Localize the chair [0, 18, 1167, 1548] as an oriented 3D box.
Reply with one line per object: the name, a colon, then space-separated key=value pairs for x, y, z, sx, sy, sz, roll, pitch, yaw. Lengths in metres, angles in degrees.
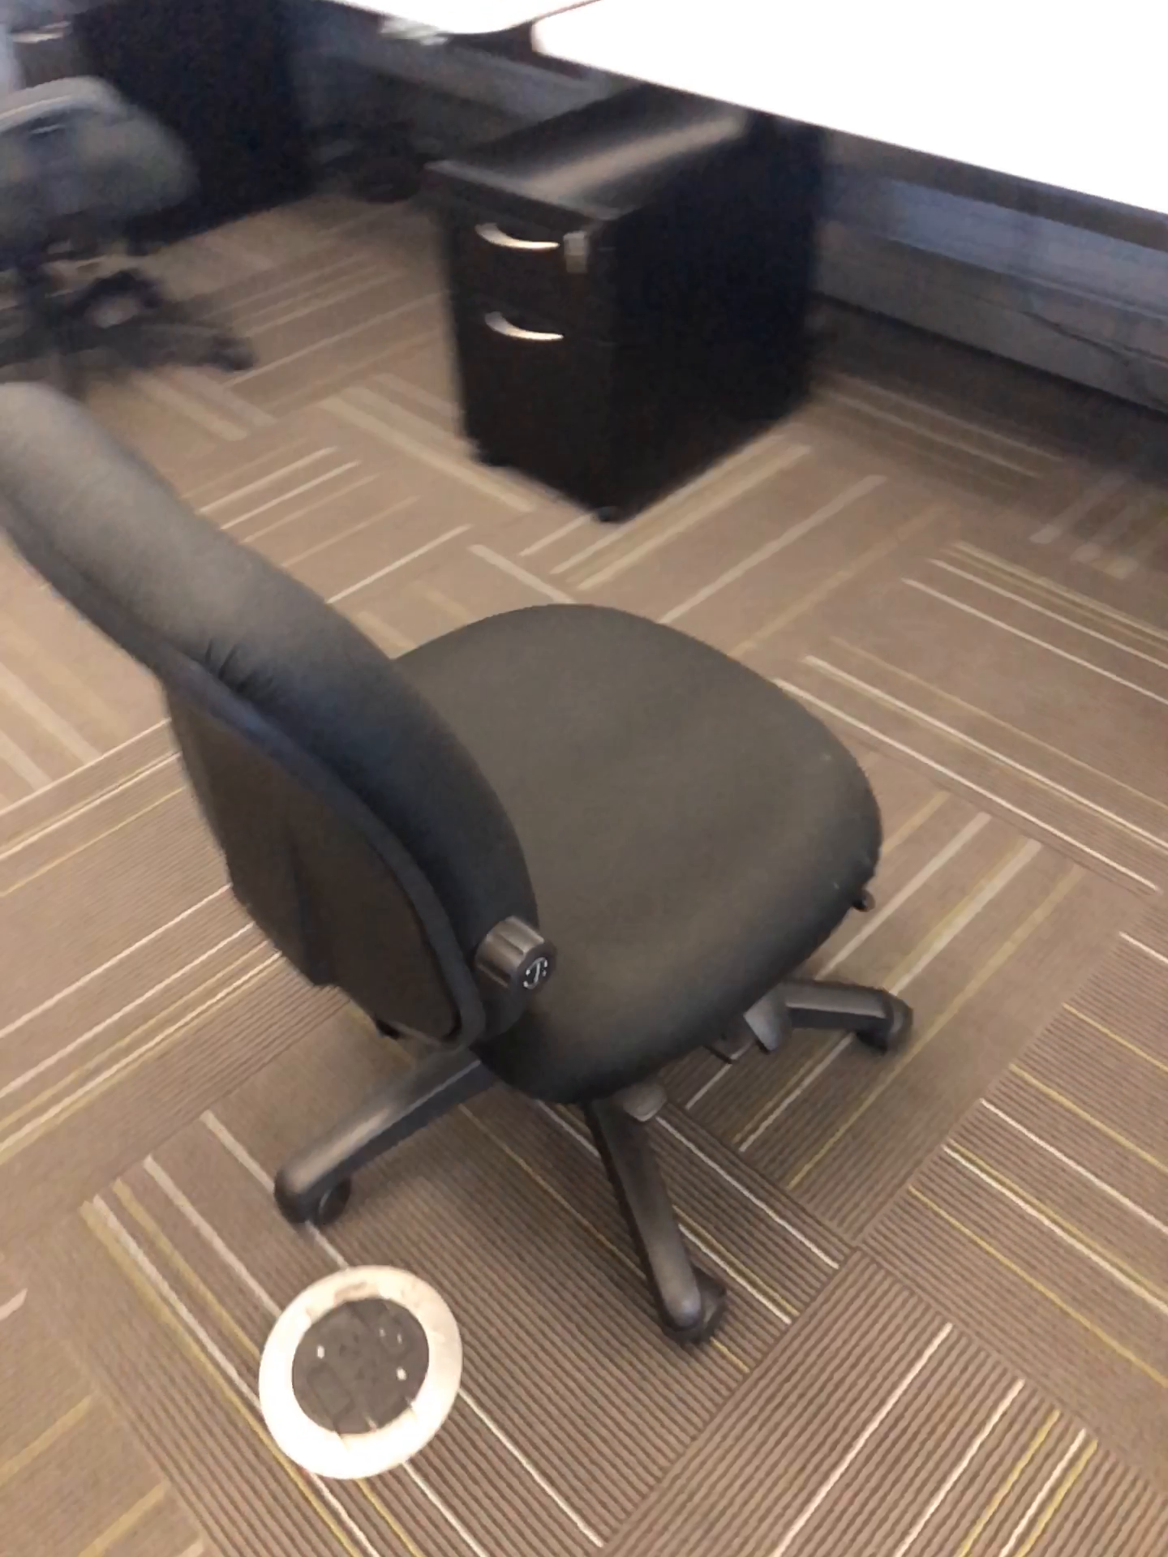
chair: x=-0.074 y=-0.056 z=1.152 sx=0.772 sy=0.846 sz=0.761 roll=34 pitch=54 yaw=32
